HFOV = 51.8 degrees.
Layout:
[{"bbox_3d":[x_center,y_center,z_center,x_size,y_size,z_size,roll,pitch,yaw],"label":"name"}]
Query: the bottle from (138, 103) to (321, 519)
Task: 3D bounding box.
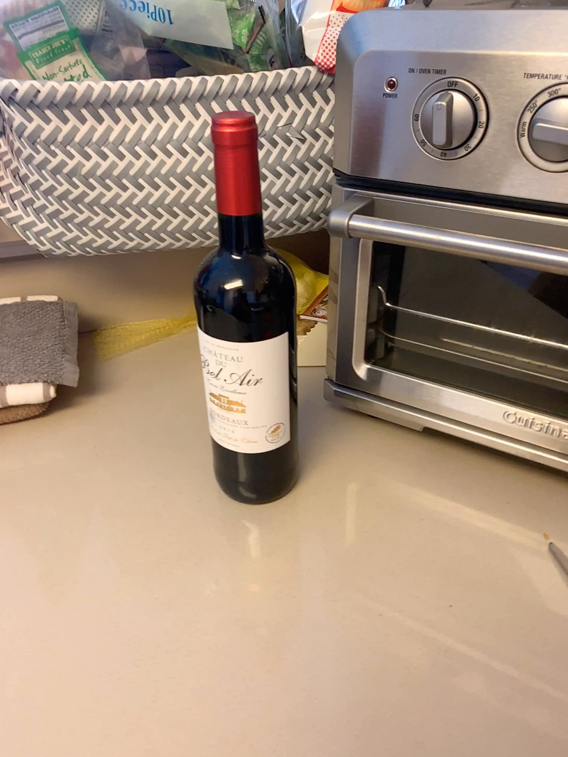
[{"bbox_3d":[-0.027,-0.038,0.433,0.080,0.288,0.080,-1,33,1],"label":"bottle"}]
